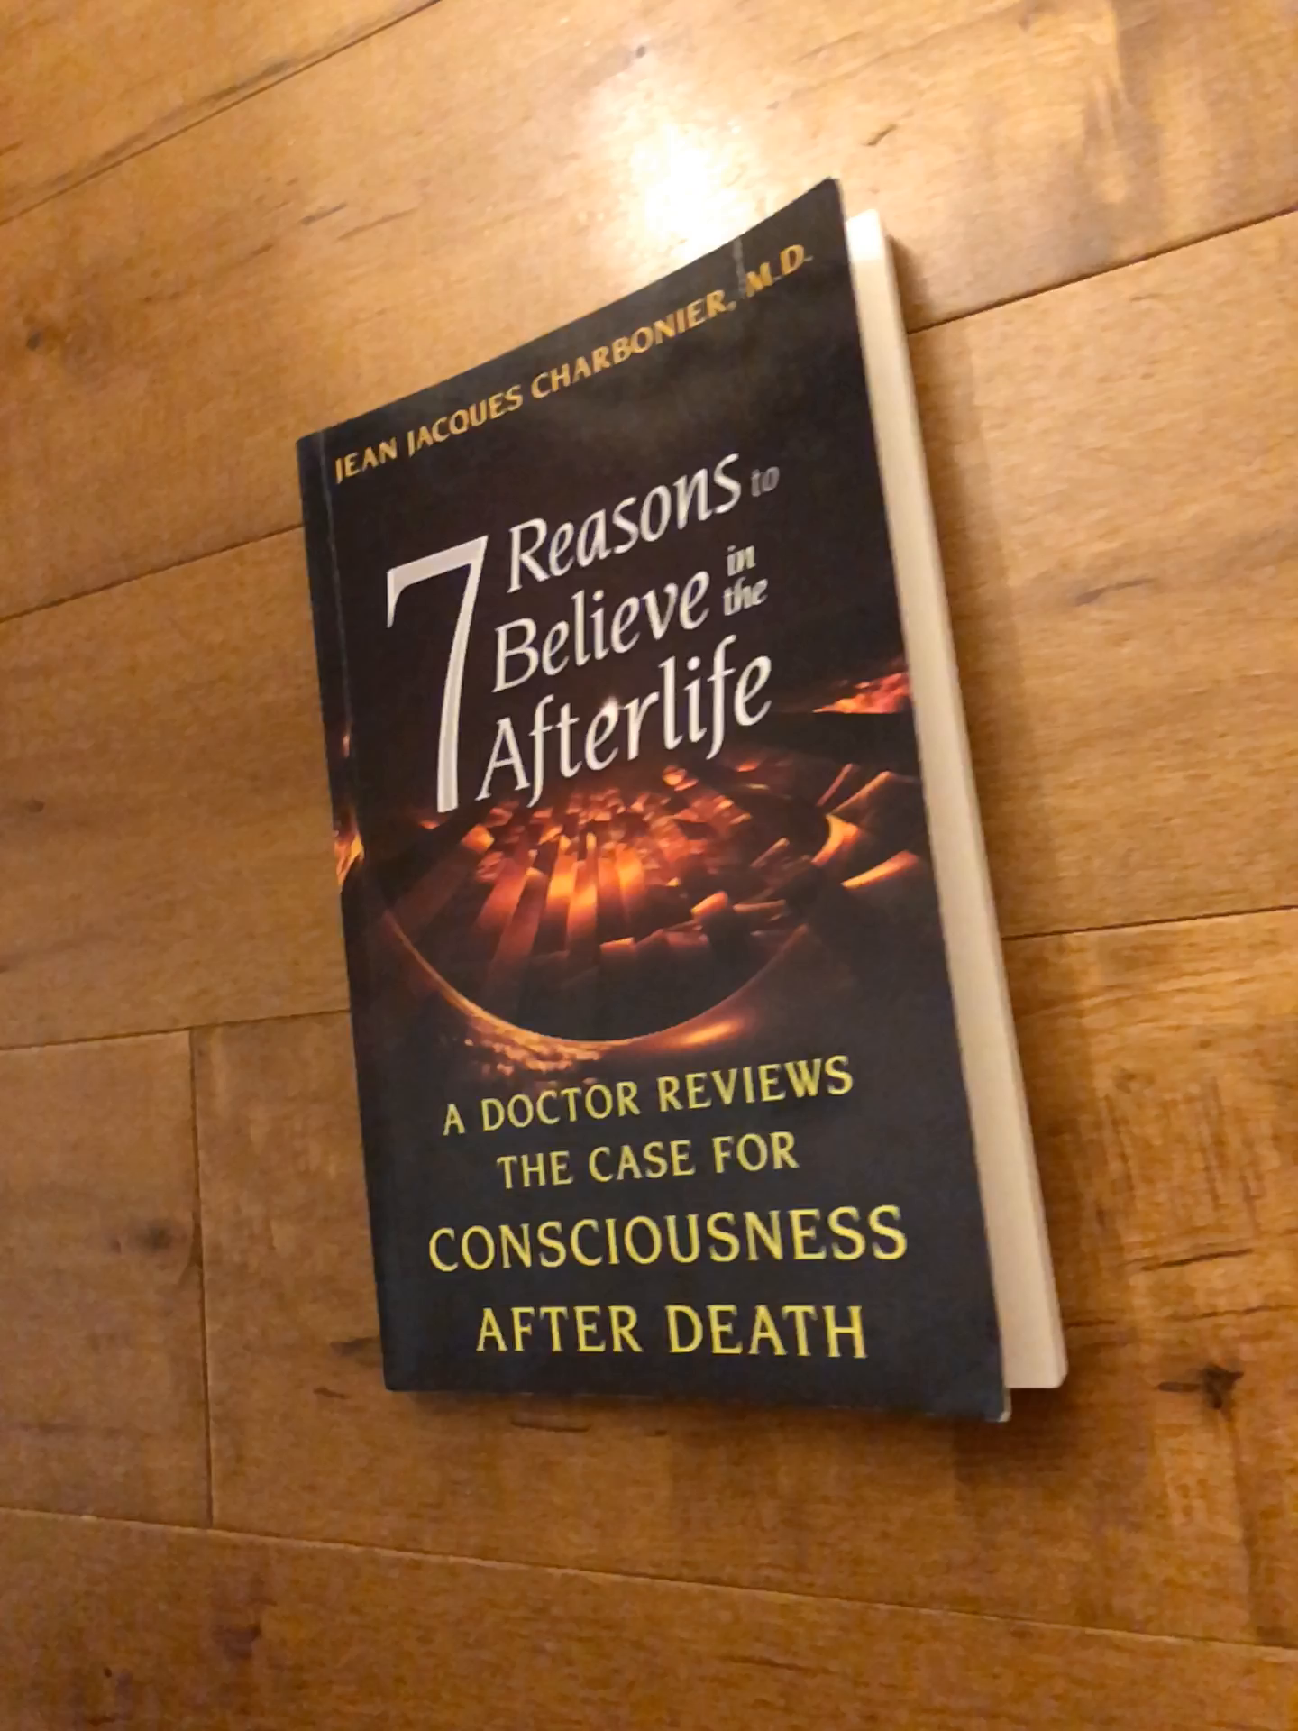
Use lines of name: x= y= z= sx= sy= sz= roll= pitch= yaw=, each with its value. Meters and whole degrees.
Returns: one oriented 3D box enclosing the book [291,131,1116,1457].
book: x=-0.003 y=-0.006 z=0.324 sx=0.171 sy=0.030 sz=0.250 roll=-12 pitch=80 yaw=34
